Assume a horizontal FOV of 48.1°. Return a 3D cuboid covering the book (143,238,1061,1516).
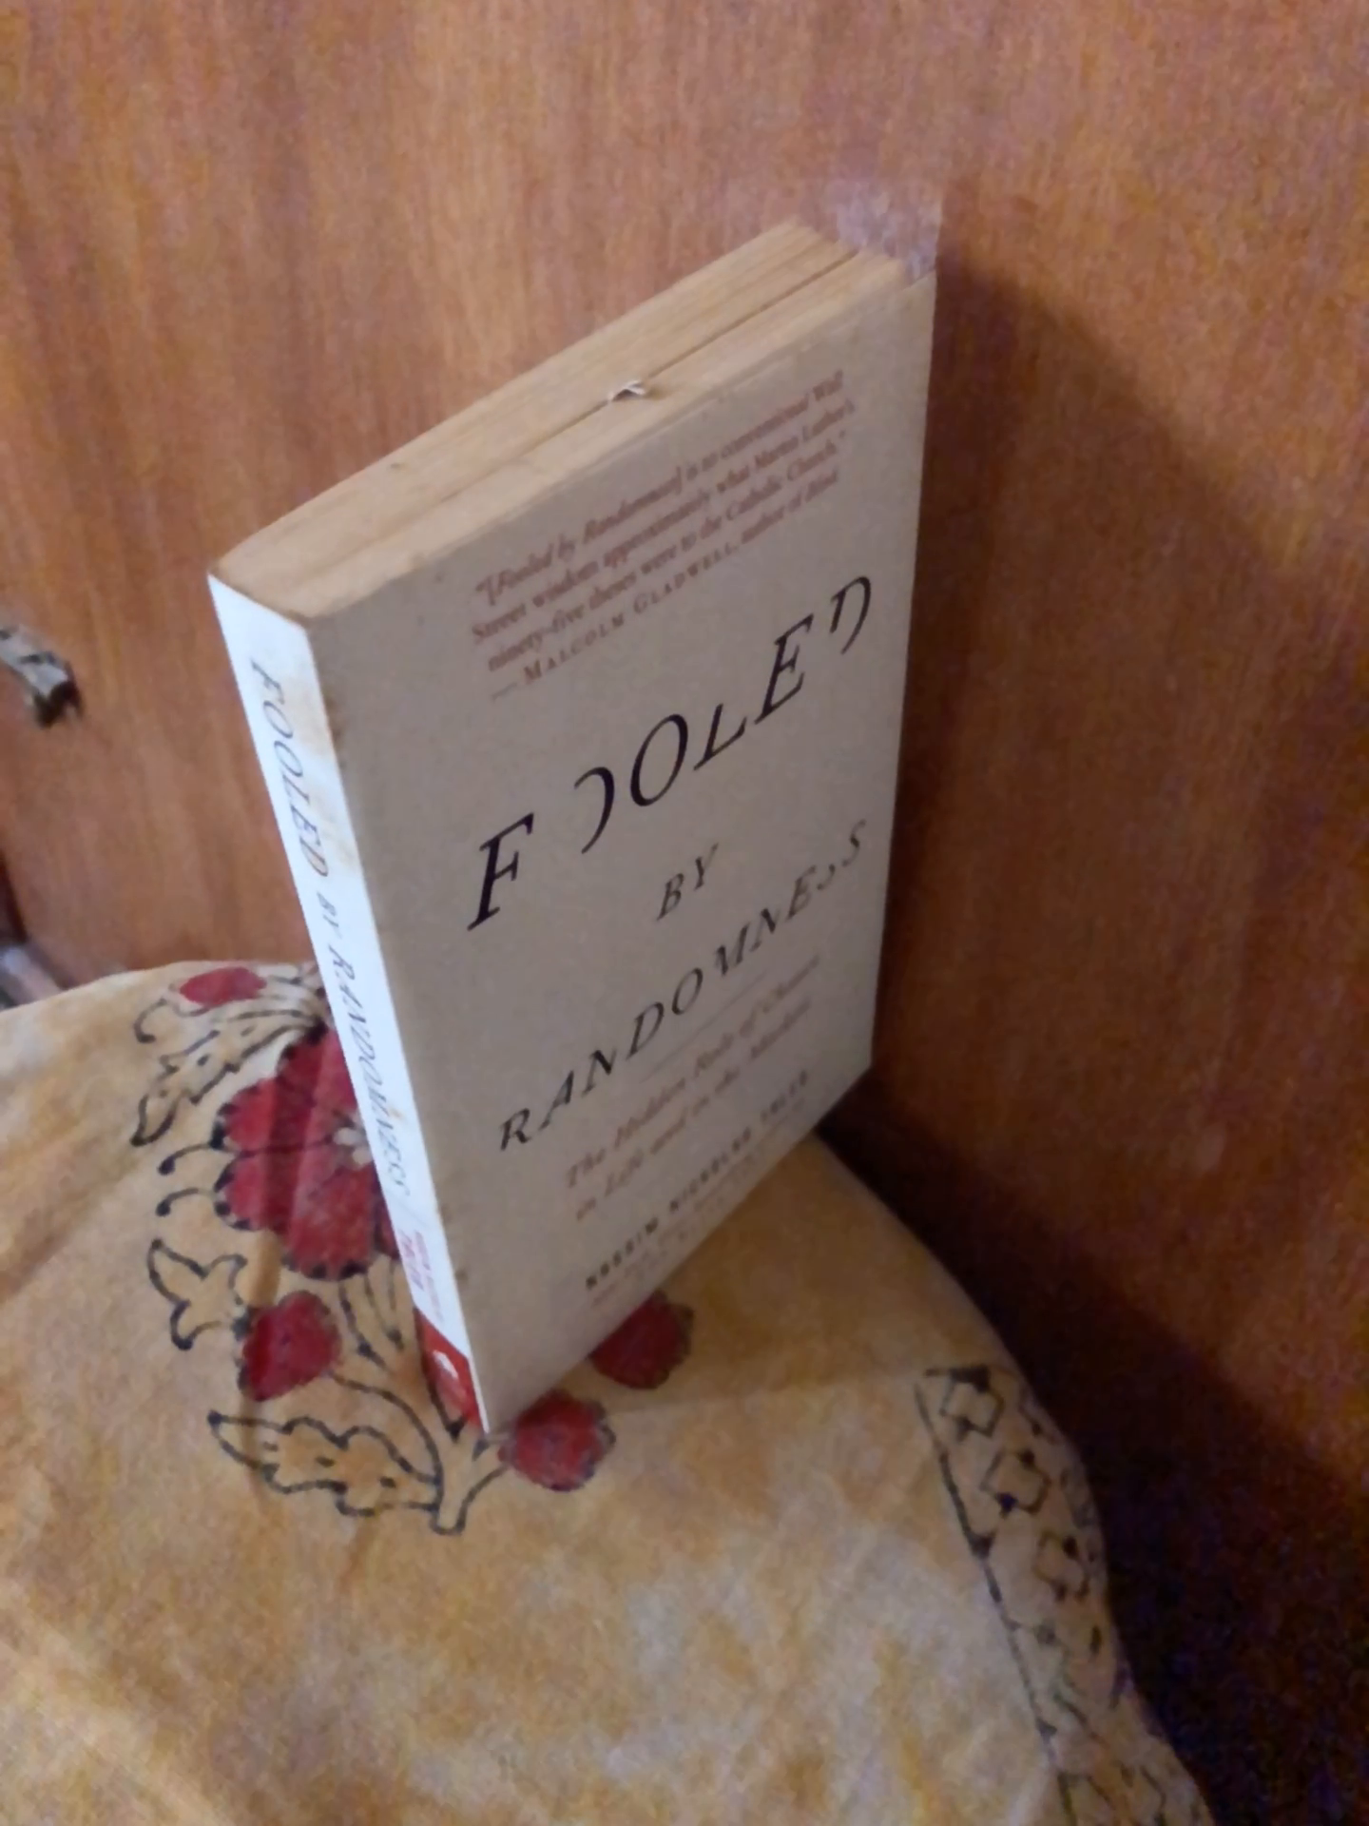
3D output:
[{"bbox_3d":[-0.008,-0.004,0.293,0.040,0.199,0.160,31,47,26],"label":"book"}]
